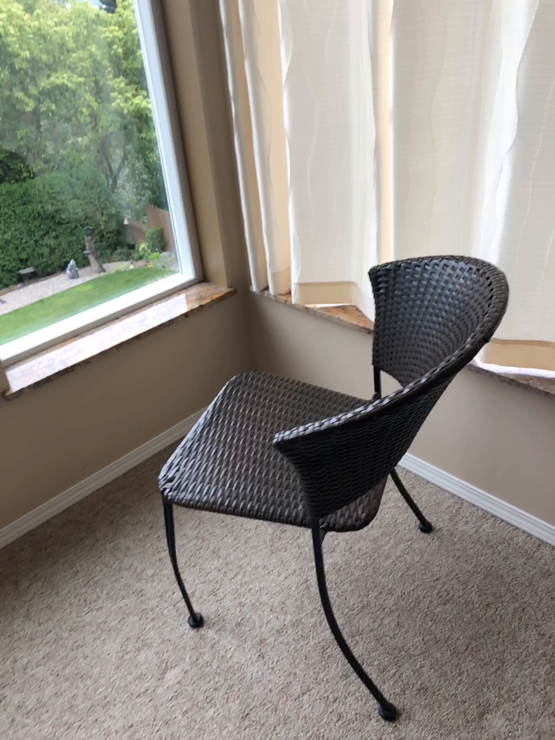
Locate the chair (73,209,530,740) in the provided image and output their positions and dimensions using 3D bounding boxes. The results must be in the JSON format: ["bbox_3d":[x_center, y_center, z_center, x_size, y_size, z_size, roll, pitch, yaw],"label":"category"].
[{"bbox_3d":[0.109,0.167,1.233,0.611,0.787,0.561,9,35,21],"label":"chair"}]
